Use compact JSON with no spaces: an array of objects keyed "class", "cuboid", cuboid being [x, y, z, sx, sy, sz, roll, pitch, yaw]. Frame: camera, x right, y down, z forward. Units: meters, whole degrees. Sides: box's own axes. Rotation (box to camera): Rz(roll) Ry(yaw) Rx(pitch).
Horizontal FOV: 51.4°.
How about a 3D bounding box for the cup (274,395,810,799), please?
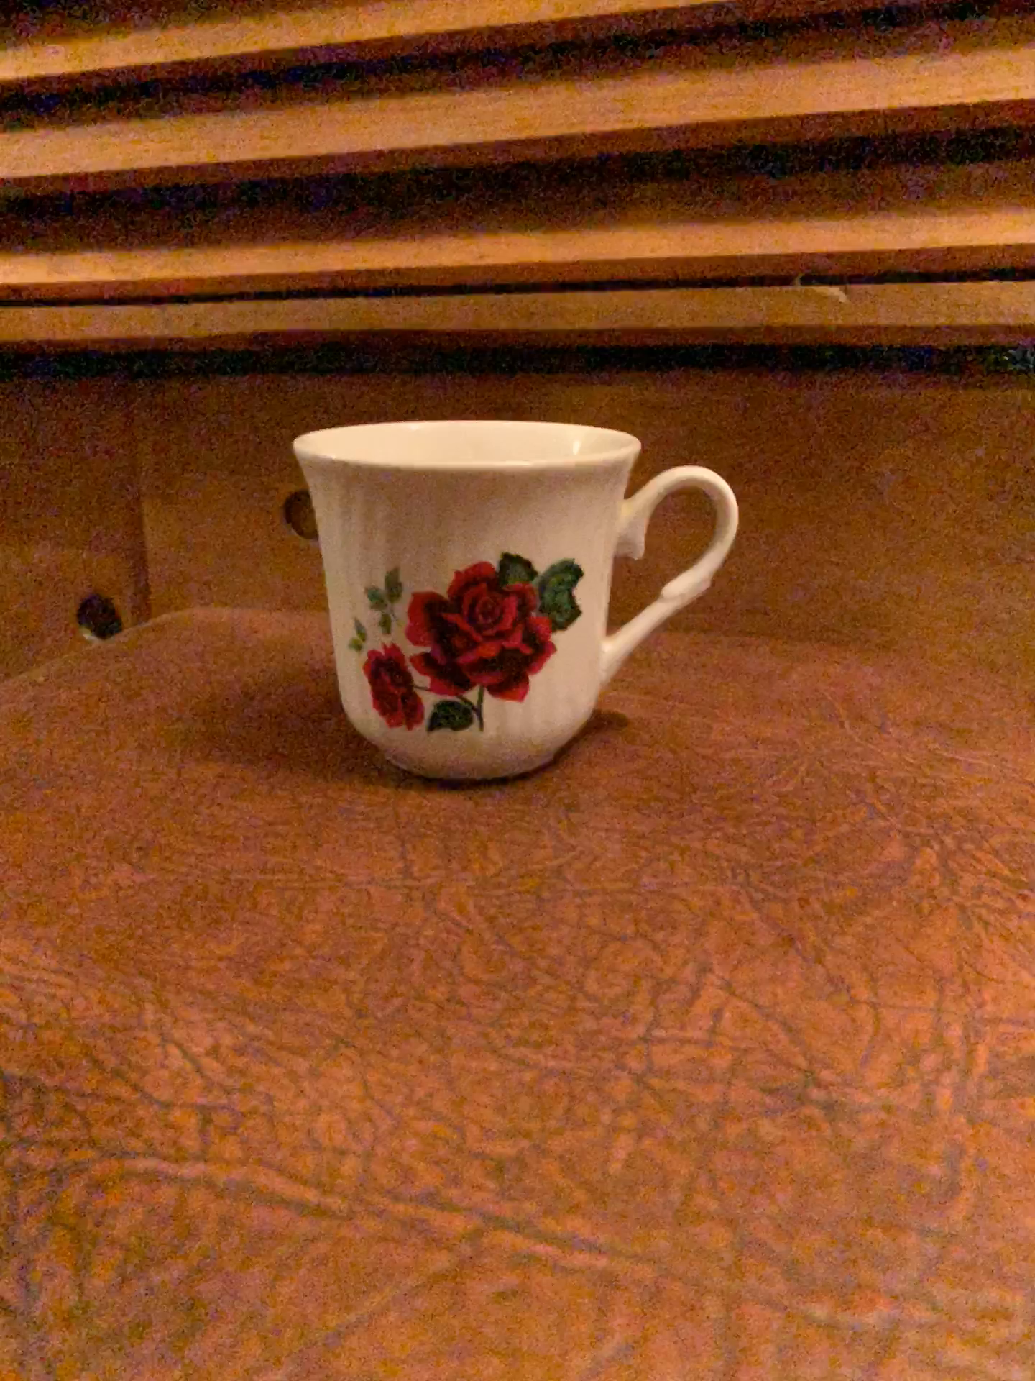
[{"class":"cup","cuboid":[0.001,-0.031,0.271,0.111,0.082,0.085,-3,16,-9]}]
